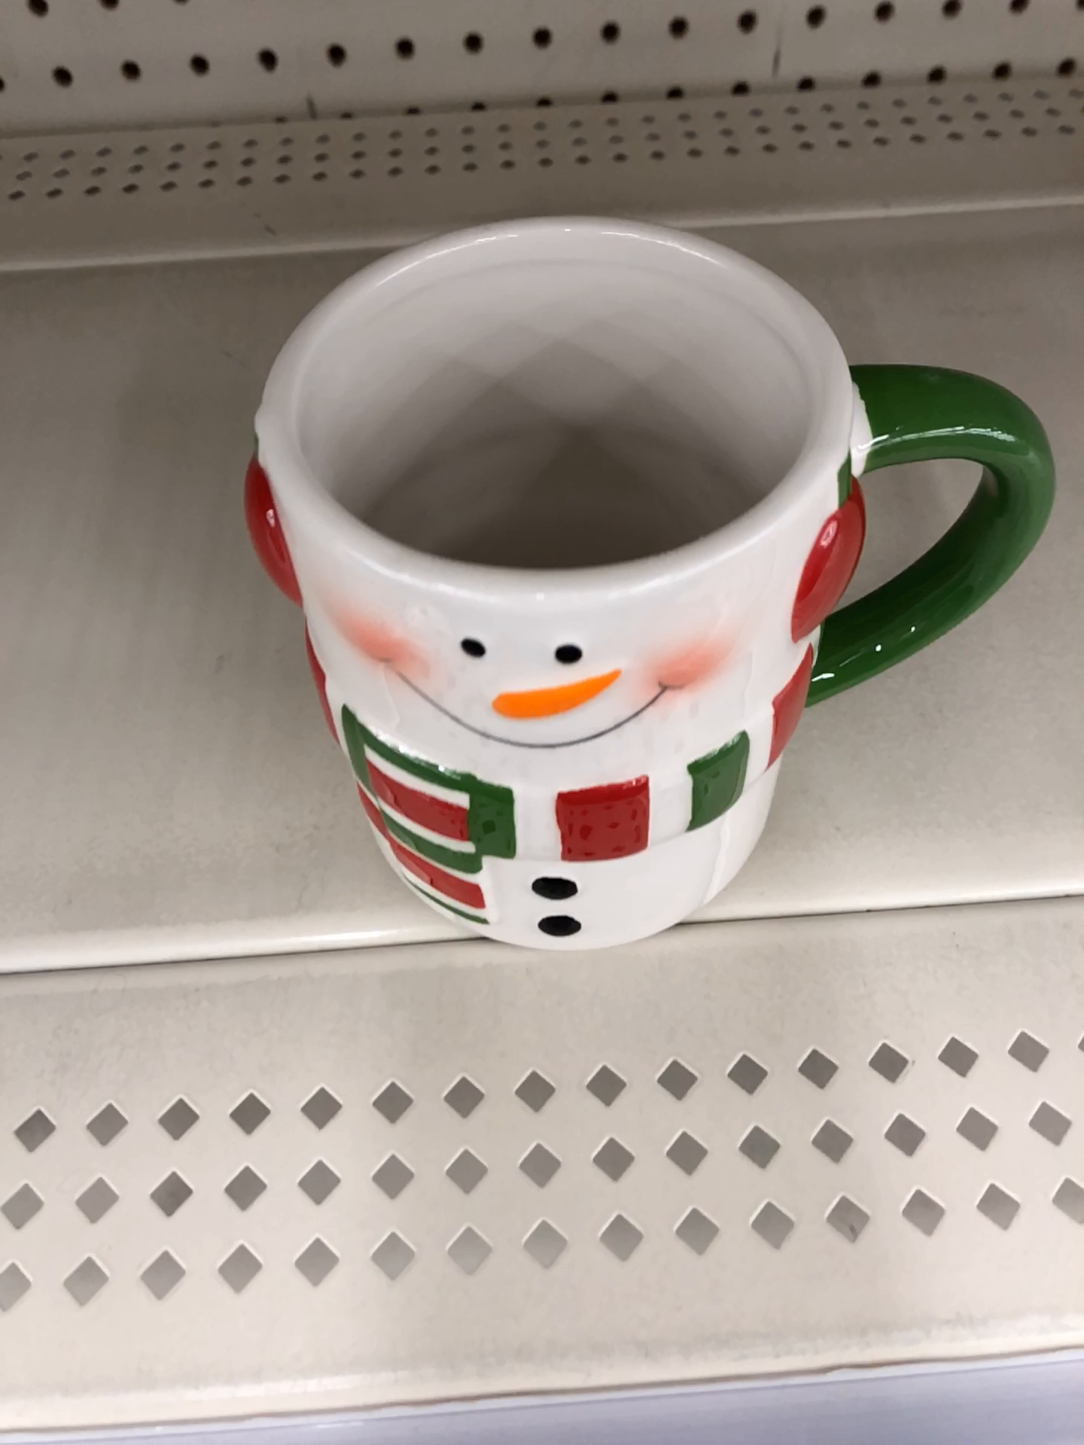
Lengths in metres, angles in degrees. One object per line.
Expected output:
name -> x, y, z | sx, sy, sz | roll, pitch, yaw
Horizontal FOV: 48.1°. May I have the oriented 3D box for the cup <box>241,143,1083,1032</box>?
cup -> 0.025, -0.018, 0.214 | 0.130, 0.110, 0.090 | -8, 54, -3
